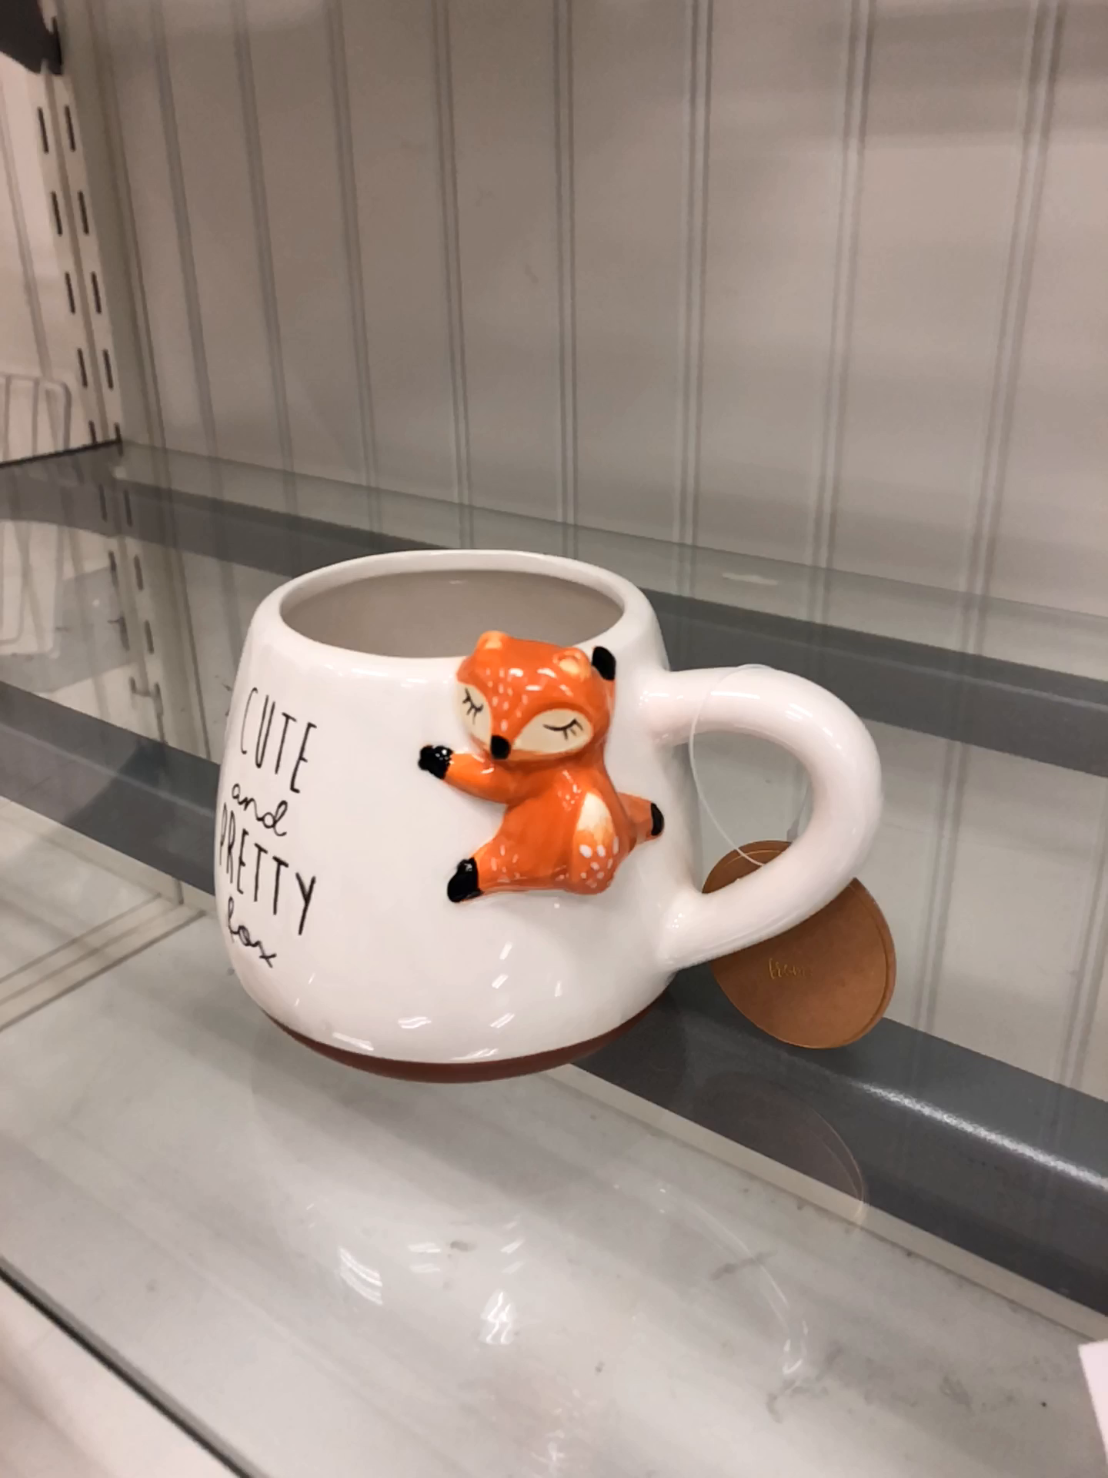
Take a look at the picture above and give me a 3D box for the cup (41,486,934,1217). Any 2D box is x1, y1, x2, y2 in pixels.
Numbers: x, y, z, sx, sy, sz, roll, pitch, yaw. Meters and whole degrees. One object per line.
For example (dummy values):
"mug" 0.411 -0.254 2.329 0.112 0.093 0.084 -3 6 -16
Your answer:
"cup" -0.006 0.008 0.255 0.143 0.089 0.101 9 26 21
